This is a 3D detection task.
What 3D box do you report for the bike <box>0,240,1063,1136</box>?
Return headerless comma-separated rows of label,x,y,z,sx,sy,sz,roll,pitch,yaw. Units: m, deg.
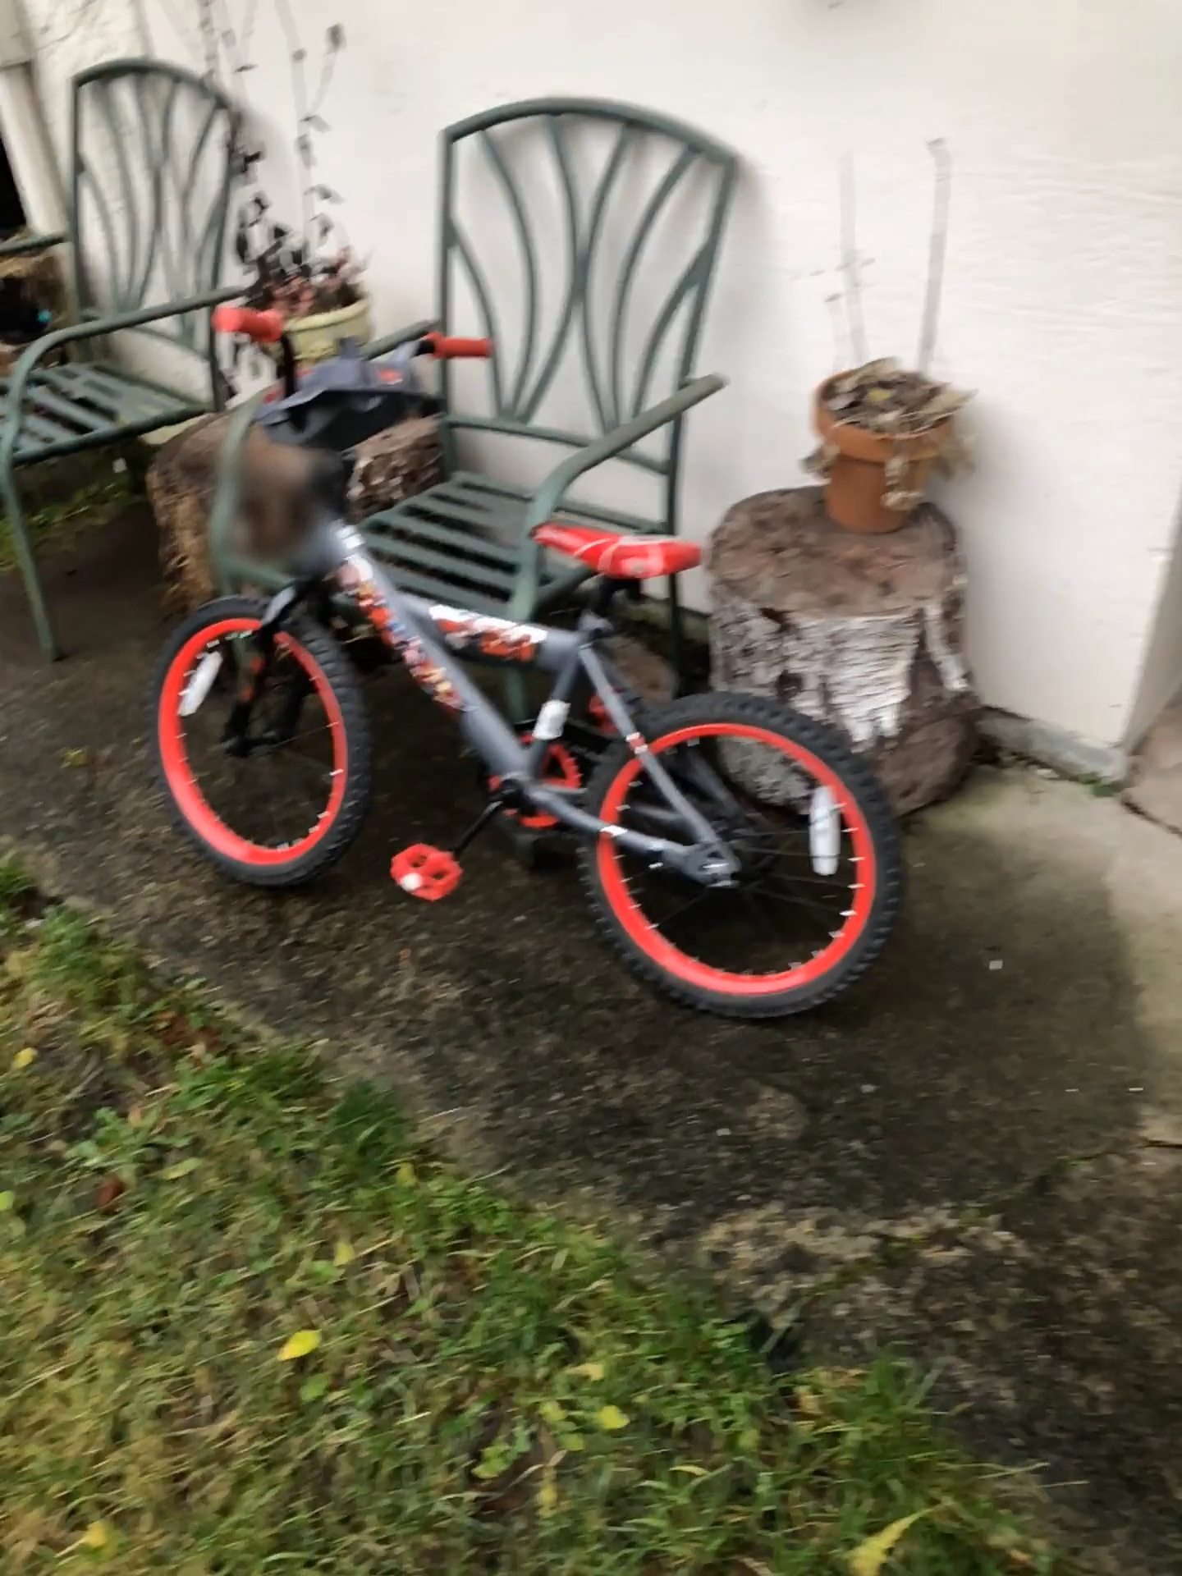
bike,-0.113,-0.204,1.773,1.202,0.853,0.603,14,41,24
